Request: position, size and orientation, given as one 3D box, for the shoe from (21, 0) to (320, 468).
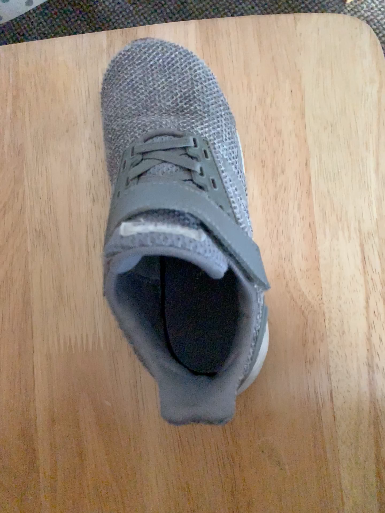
[{"bbox_3d":[-0.012,-0.029,0.206,0.090,0.080,0.220,-10,83,2],"label":"shoe"}]
